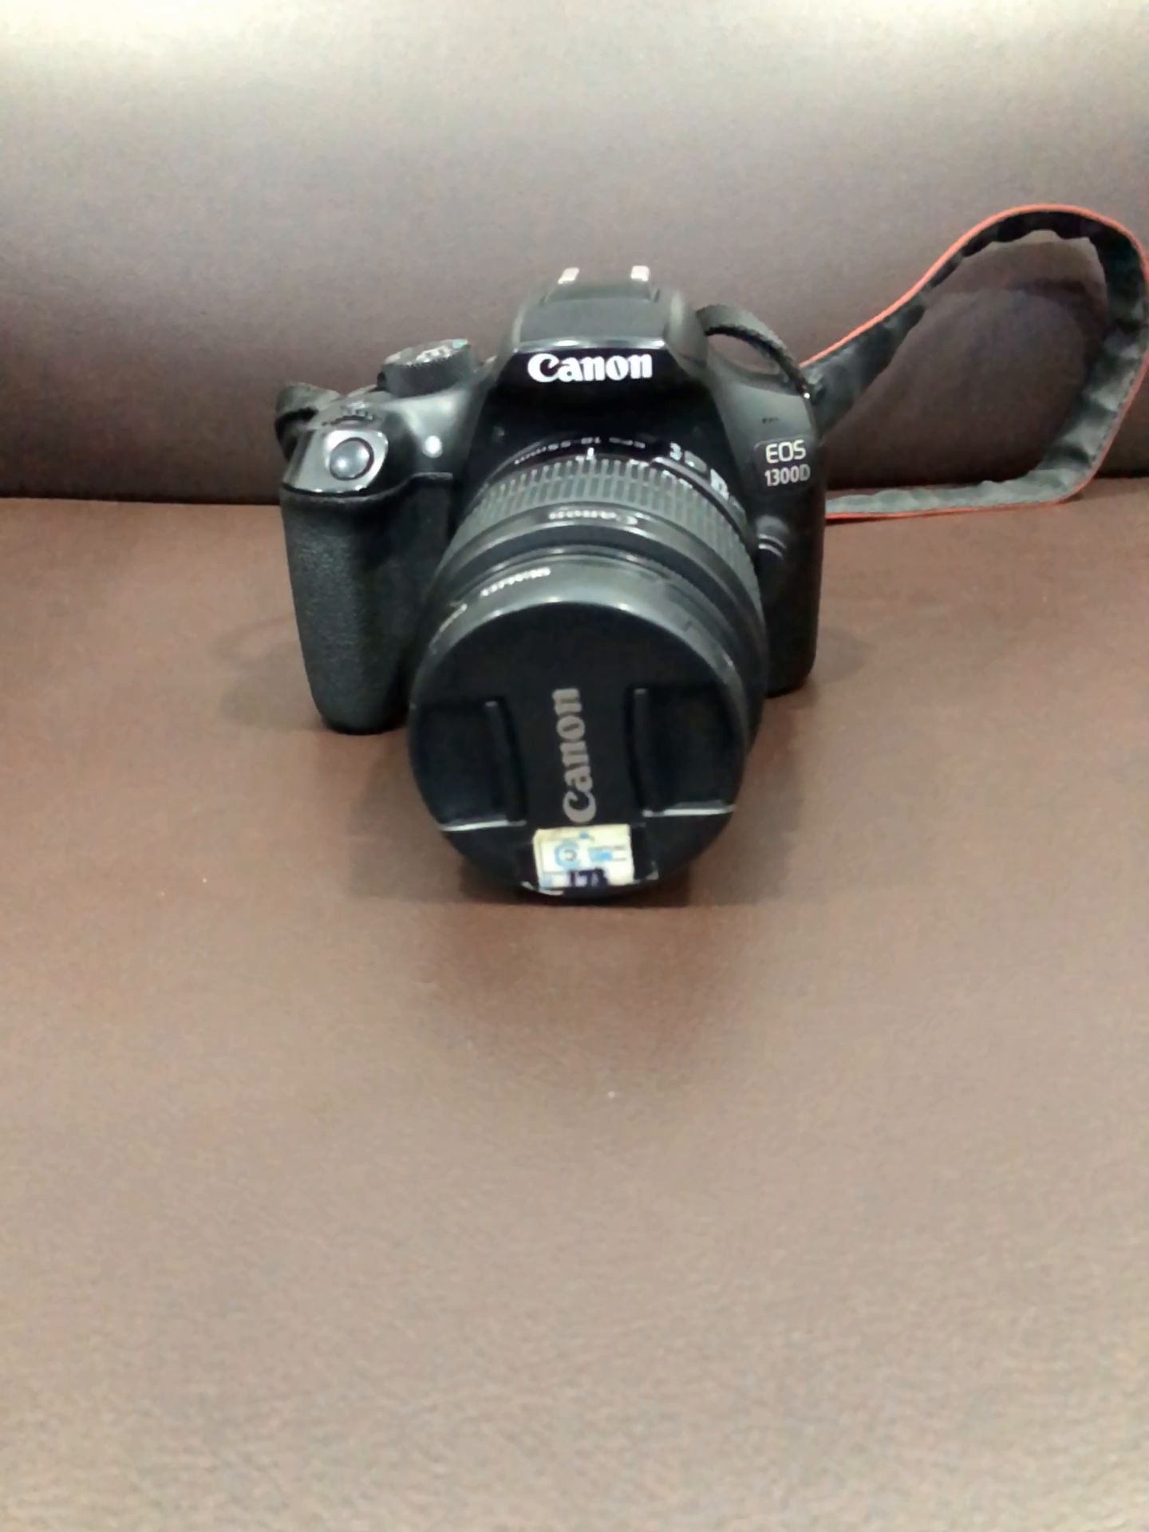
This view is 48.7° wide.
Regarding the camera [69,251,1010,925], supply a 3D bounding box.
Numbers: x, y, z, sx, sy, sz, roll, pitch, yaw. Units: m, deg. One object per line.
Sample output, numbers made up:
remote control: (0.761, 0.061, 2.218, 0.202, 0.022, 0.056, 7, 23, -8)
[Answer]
camera: (0.000, -0.053, 0.271, 0.130, 0.089, 0.171, 1, 27, 4)
